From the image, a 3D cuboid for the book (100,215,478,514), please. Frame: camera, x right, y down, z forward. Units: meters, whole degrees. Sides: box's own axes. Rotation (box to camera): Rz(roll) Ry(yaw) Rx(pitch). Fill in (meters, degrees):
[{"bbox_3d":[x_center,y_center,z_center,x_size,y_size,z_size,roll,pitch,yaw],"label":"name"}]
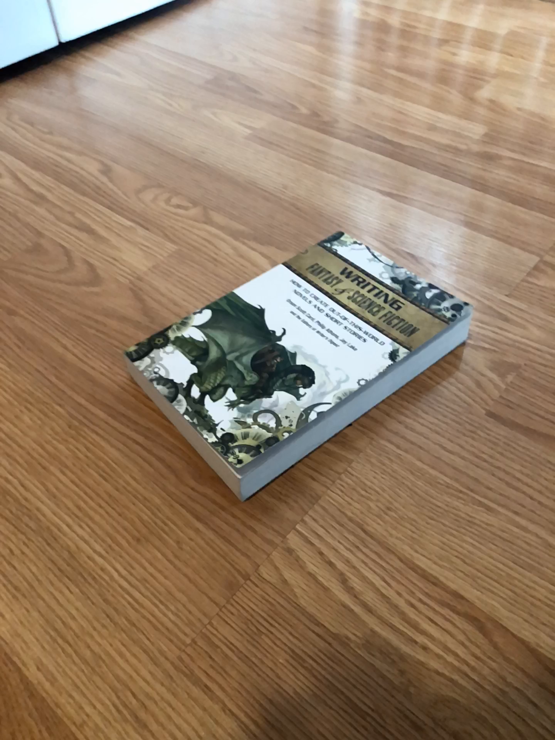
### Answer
[{"bbox_3d":[0.010,-0.023,0.471,0.228,0.040,0.165,-32,54,-24],"label":"book"}]
